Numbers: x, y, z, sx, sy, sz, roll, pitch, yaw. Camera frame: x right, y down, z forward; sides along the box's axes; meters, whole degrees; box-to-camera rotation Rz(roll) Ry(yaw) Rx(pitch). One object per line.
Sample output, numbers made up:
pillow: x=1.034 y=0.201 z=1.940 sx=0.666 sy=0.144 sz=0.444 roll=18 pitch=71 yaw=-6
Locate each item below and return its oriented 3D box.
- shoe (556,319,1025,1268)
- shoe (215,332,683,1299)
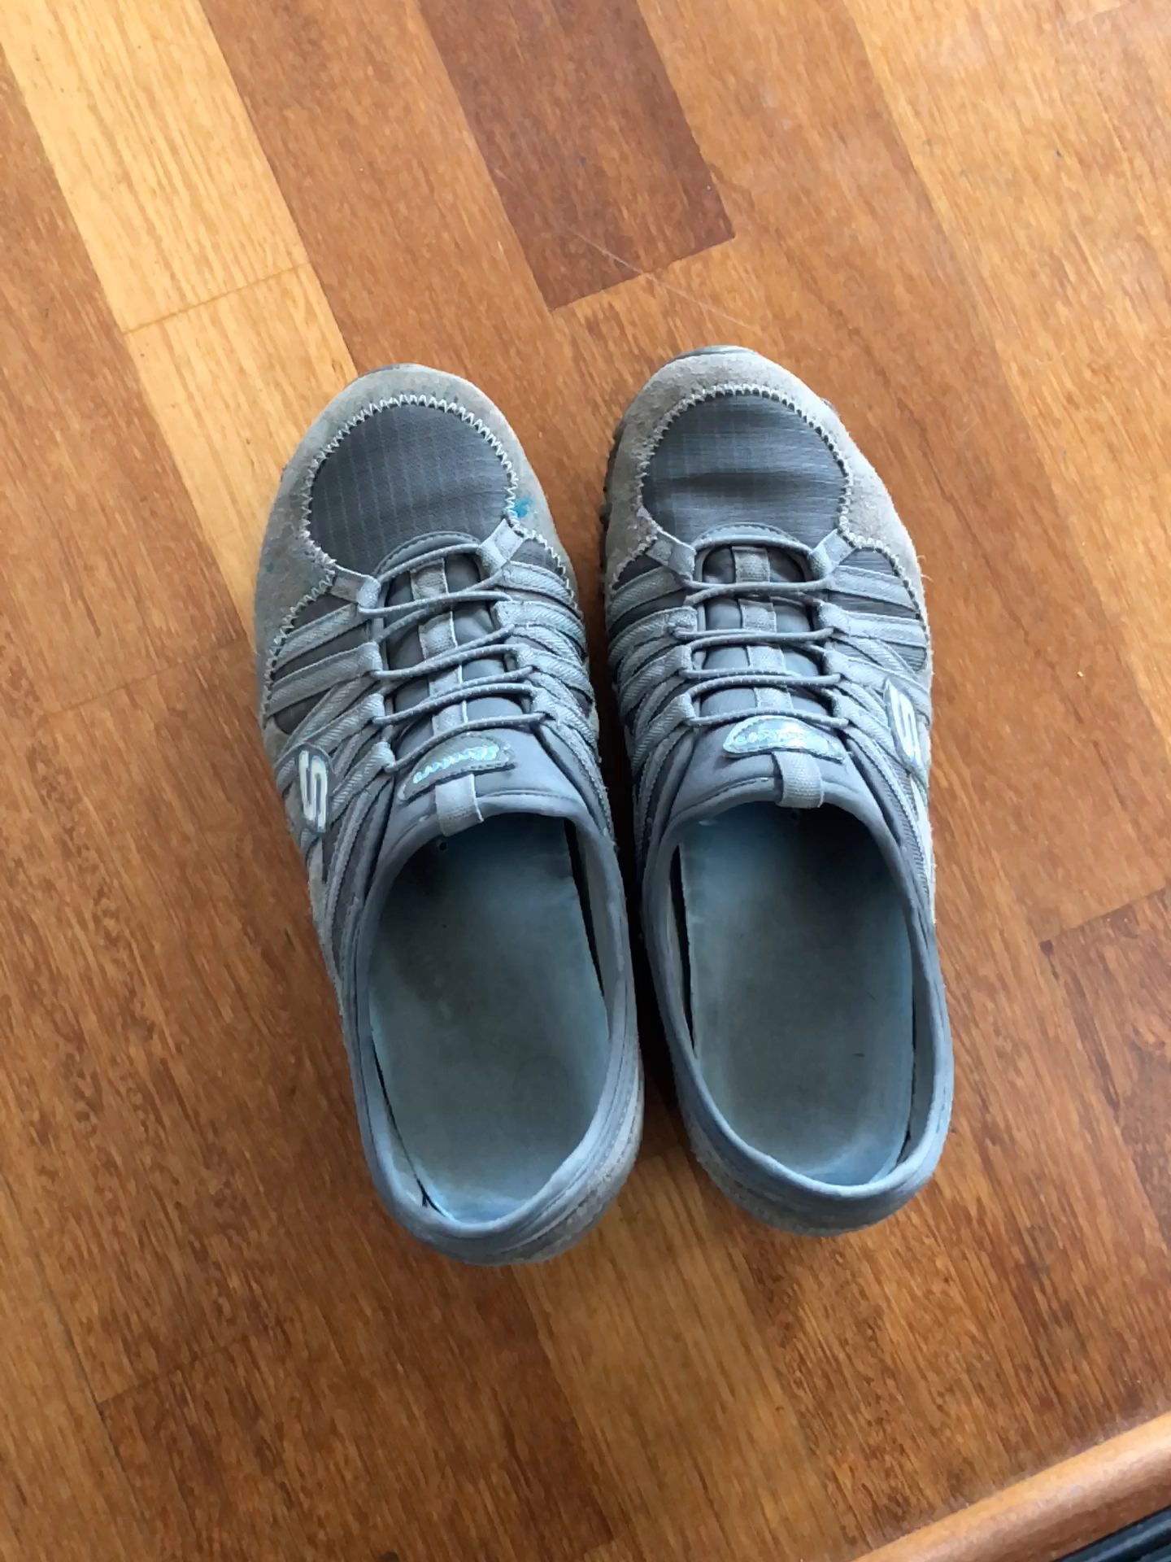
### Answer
shoe: x=0.055 y=0.003 z=0.405 sx=0.093 sy=0.106 sz=0.249 roll=-7 pitch=88 yaw=-3
shoe: x=-0.040 y=0.009 z=0.404 sx=0.096 sy=0.106 sz=0.253 roll=-7 pitch=88 yaw=-3
